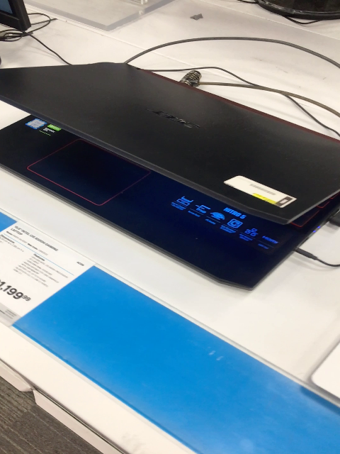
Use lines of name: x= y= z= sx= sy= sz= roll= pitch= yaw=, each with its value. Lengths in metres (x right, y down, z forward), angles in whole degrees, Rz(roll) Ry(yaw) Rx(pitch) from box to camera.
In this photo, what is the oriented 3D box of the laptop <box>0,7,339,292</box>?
laptop: x=0.001 y=-0.115 z=0.500 sx=0.381 sy=0.101 sz=0.248 roll=31 pitch=58 yaw=24
